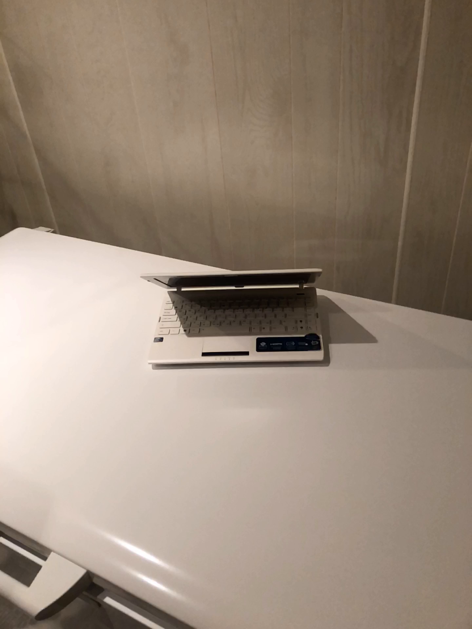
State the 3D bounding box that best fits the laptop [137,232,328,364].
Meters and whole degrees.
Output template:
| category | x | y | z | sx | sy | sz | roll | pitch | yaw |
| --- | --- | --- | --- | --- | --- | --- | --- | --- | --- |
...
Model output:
| category | x | y | z | sx | sy | sz | roll | pitch | yaw |
| --- | --- | --- | --- | --- | --- | --- | --- | --- | --- |
| laptop | -0.001 | -0.032 | 0.911 | 0.298 | 0.115 | 0.199 | -2 | 39 | 5 |
